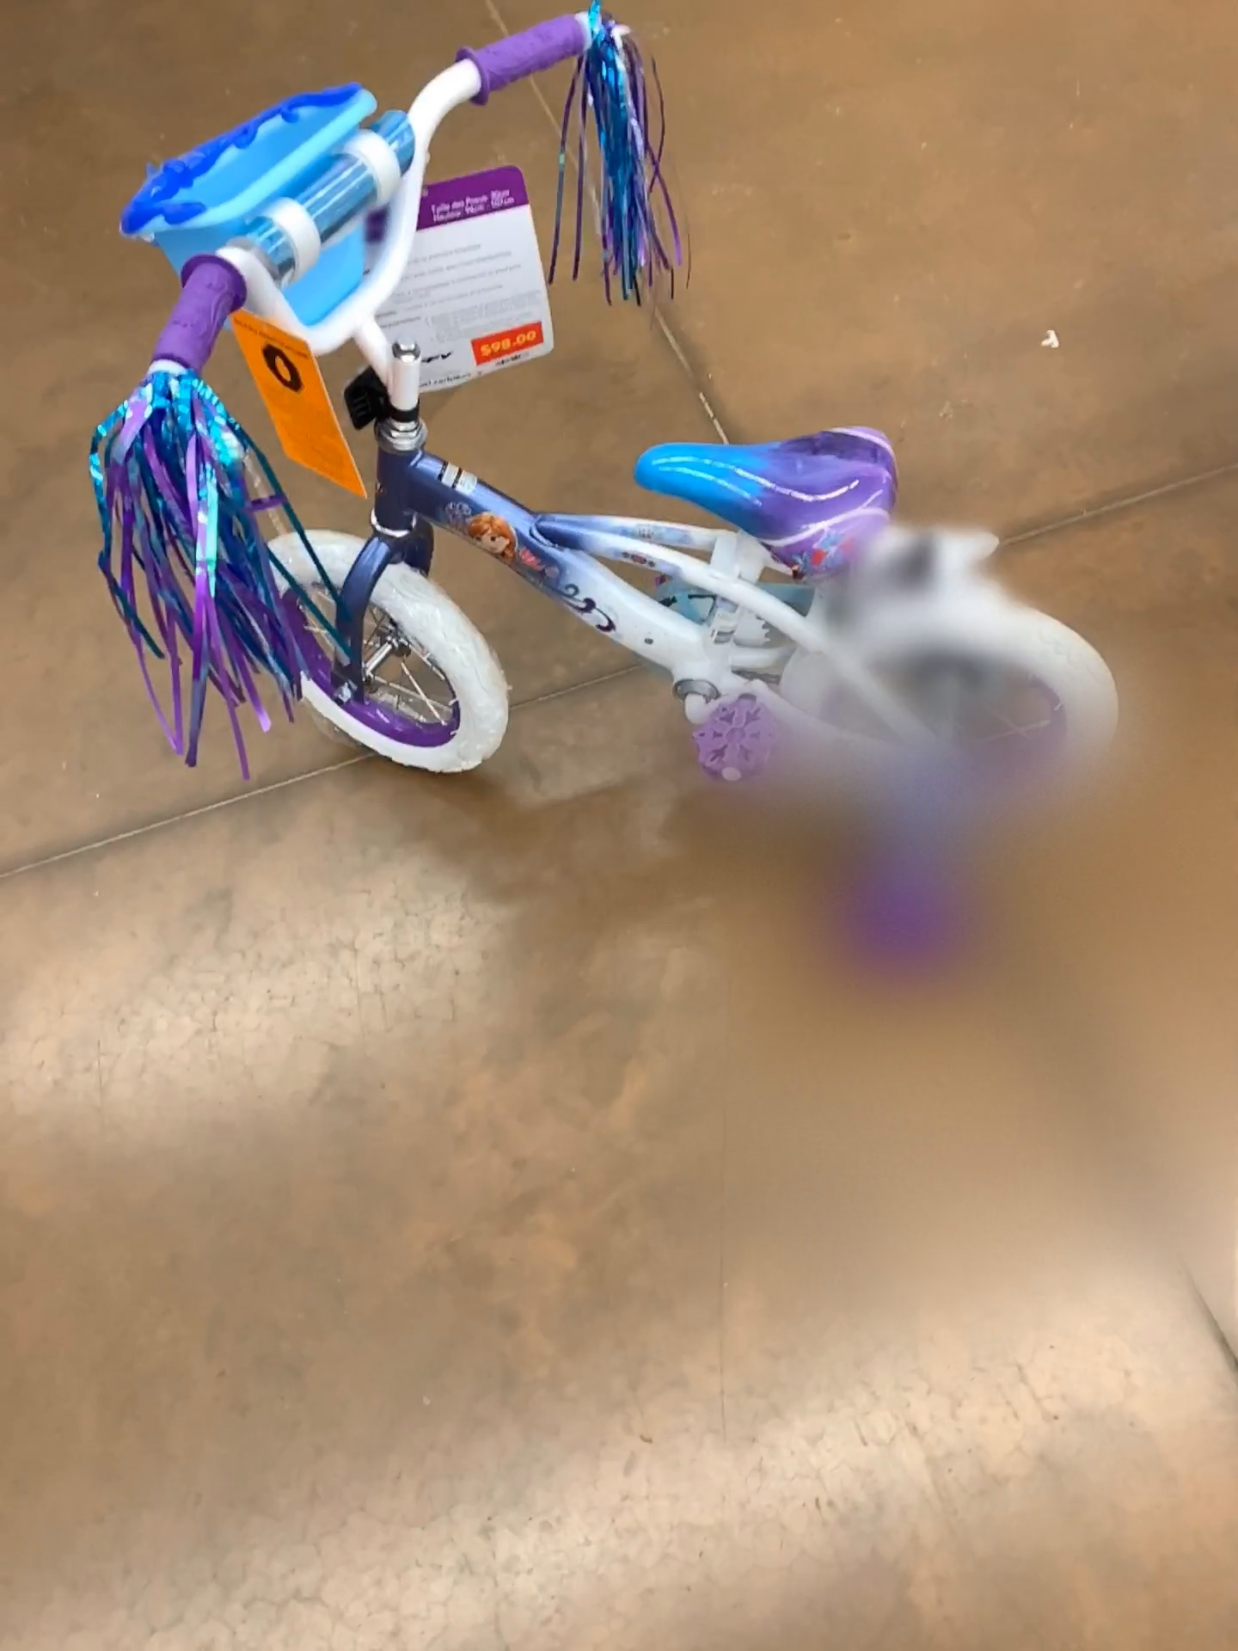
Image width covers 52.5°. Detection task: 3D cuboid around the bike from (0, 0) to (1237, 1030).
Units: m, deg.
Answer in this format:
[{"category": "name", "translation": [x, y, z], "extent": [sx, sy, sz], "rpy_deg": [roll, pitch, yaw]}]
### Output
[{"category": "bike", "translation": [0.069, -0.199, 0.981], "extent": [0.651, 0.644, 0.474], "rpy_deg": [4, 60, 10]}]
